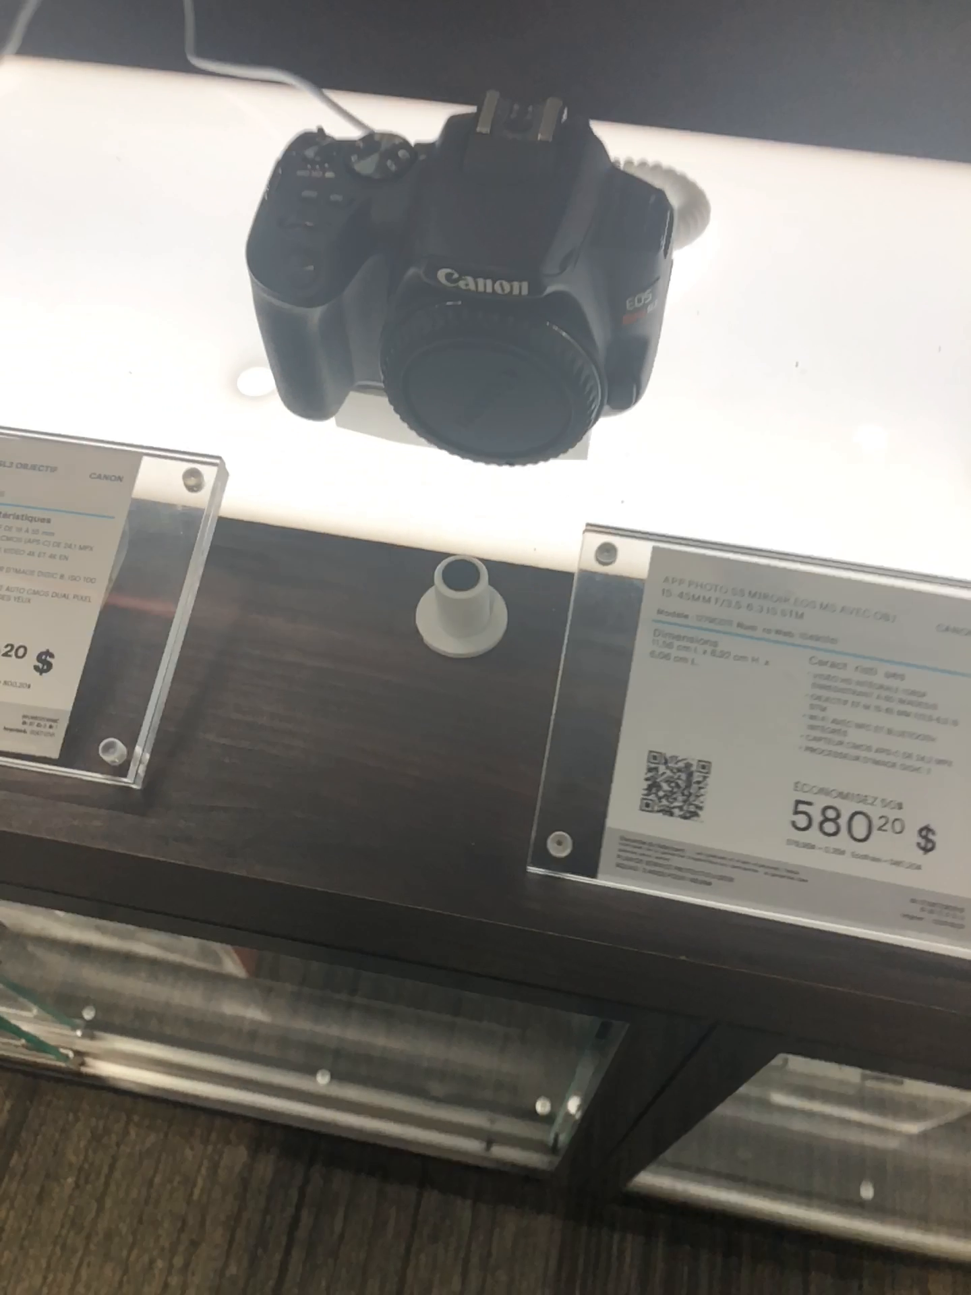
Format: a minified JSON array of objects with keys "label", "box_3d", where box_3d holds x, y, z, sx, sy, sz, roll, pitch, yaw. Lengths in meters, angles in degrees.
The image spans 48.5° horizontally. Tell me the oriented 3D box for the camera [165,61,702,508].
[{"label":"camera","box_3d":[-0.010,-0.102,0.306,0.123,0.071,0.081,10,59,5]}]
